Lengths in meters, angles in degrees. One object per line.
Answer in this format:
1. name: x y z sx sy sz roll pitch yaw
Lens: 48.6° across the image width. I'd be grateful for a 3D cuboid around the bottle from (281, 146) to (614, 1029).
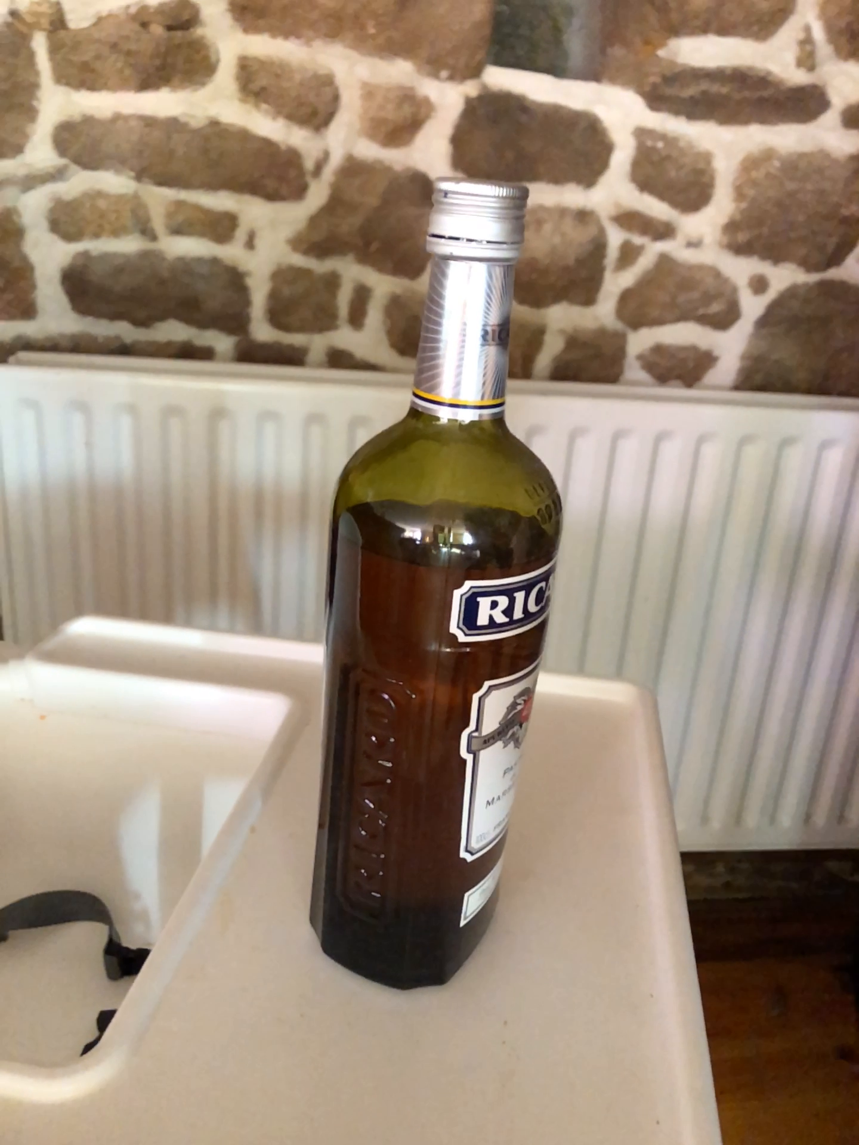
1. bottle: 0.001 0.010 0.352 0.070 0.298 0.091 14 23 22
